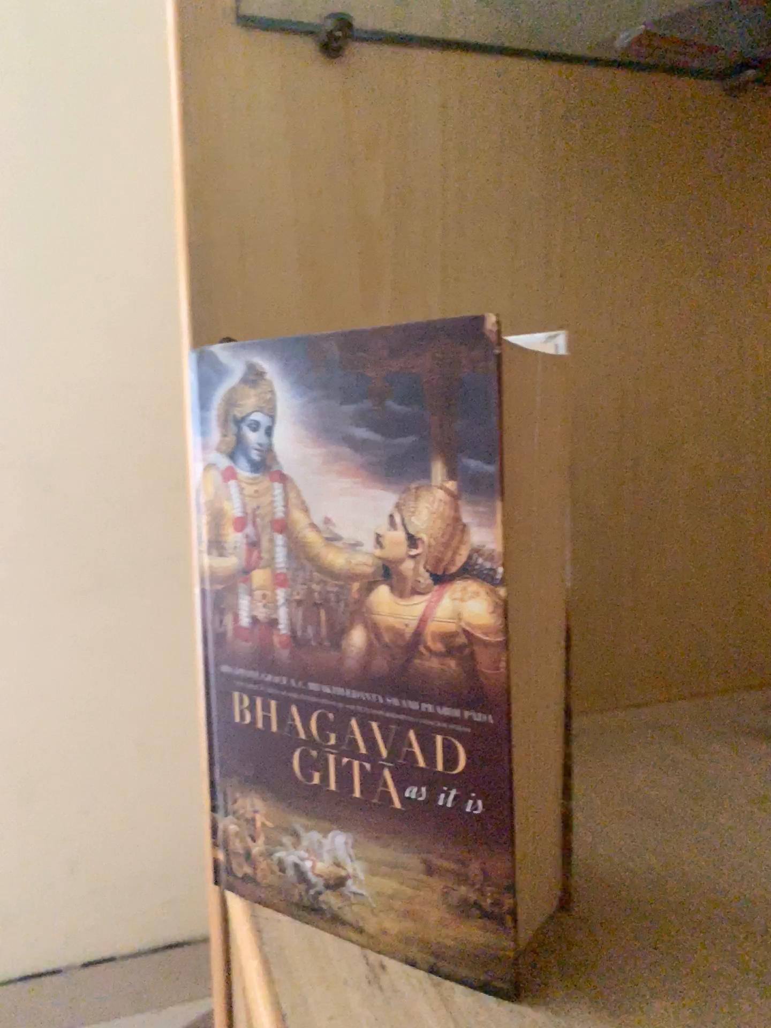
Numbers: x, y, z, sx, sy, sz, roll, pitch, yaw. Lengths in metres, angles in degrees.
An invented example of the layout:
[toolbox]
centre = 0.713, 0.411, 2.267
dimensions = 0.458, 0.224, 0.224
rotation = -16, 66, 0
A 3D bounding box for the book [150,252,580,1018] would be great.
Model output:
[book]
centre = -0.009, 0.033, 0.298
dimensions = 0.140, 0.220, 0.070
rotation = 2, 4, 34
